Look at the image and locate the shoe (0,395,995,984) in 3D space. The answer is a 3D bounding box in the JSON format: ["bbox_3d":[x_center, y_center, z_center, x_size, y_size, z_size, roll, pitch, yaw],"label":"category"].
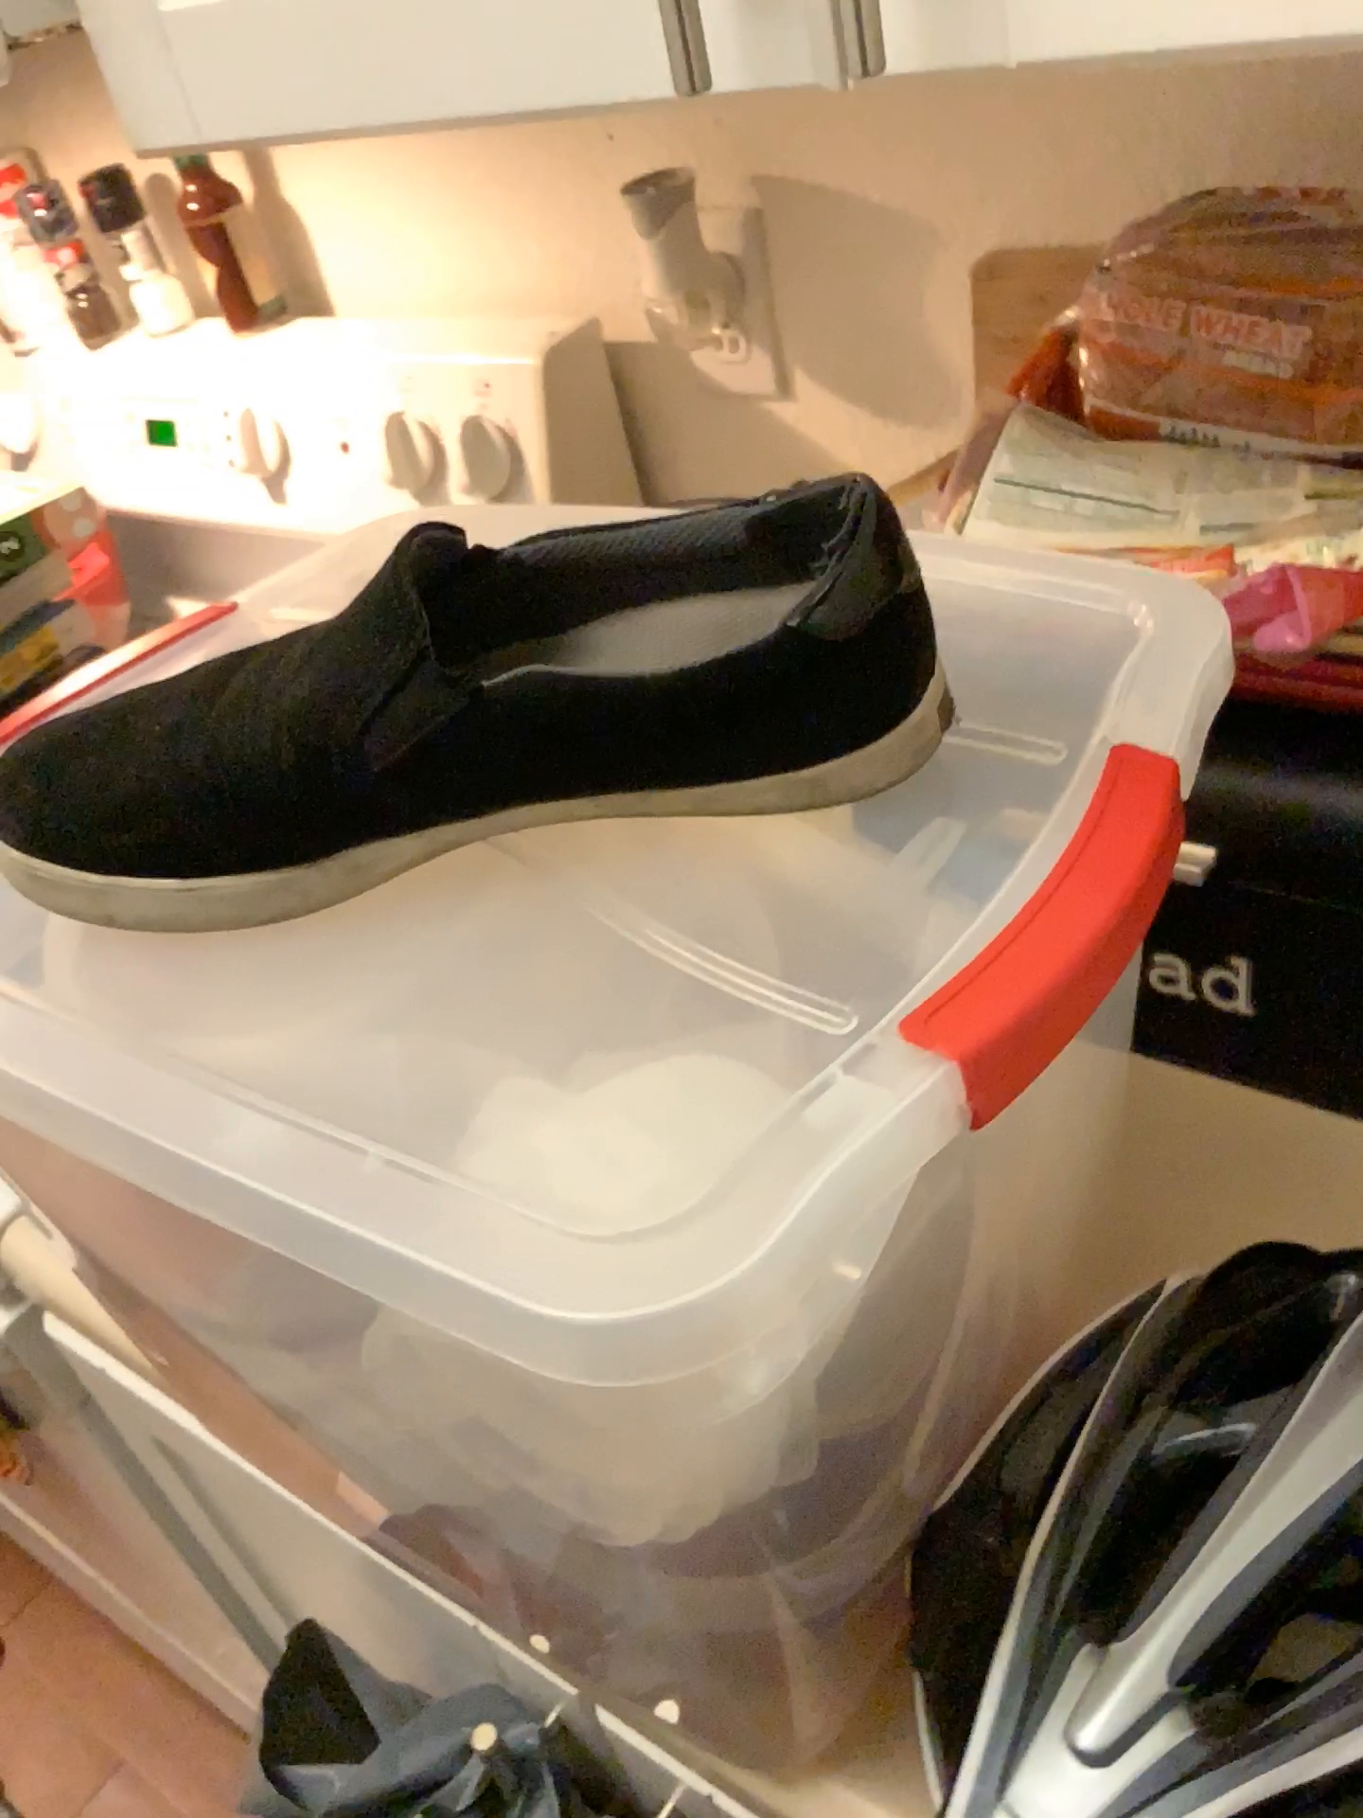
[{"bbox_3d":[-0.061,-0.061,0.417,0.270,0.070,0.100,-10,36,6],"label":"shoe"}]
